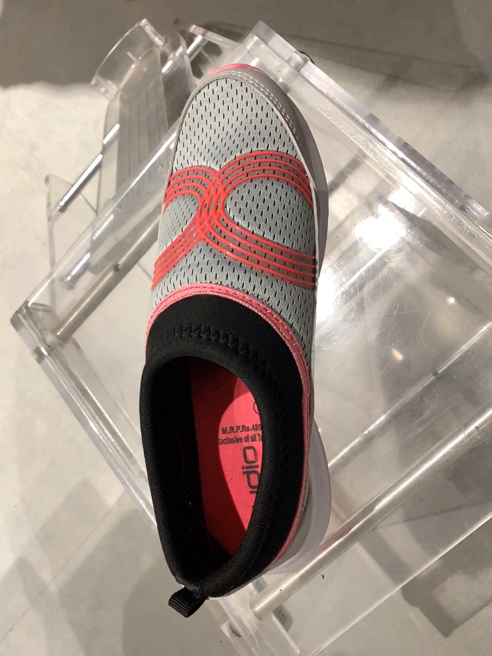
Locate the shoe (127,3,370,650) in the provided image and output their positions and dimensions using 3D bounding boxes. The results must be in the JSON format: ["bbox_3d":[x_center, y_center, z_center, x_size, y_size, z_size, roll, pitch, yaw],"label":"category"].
[{"bbox_3d":[0.003,-0.003,0.289,0.100,0.080,0.300,-5,84,20],"label":"shoe"}]
